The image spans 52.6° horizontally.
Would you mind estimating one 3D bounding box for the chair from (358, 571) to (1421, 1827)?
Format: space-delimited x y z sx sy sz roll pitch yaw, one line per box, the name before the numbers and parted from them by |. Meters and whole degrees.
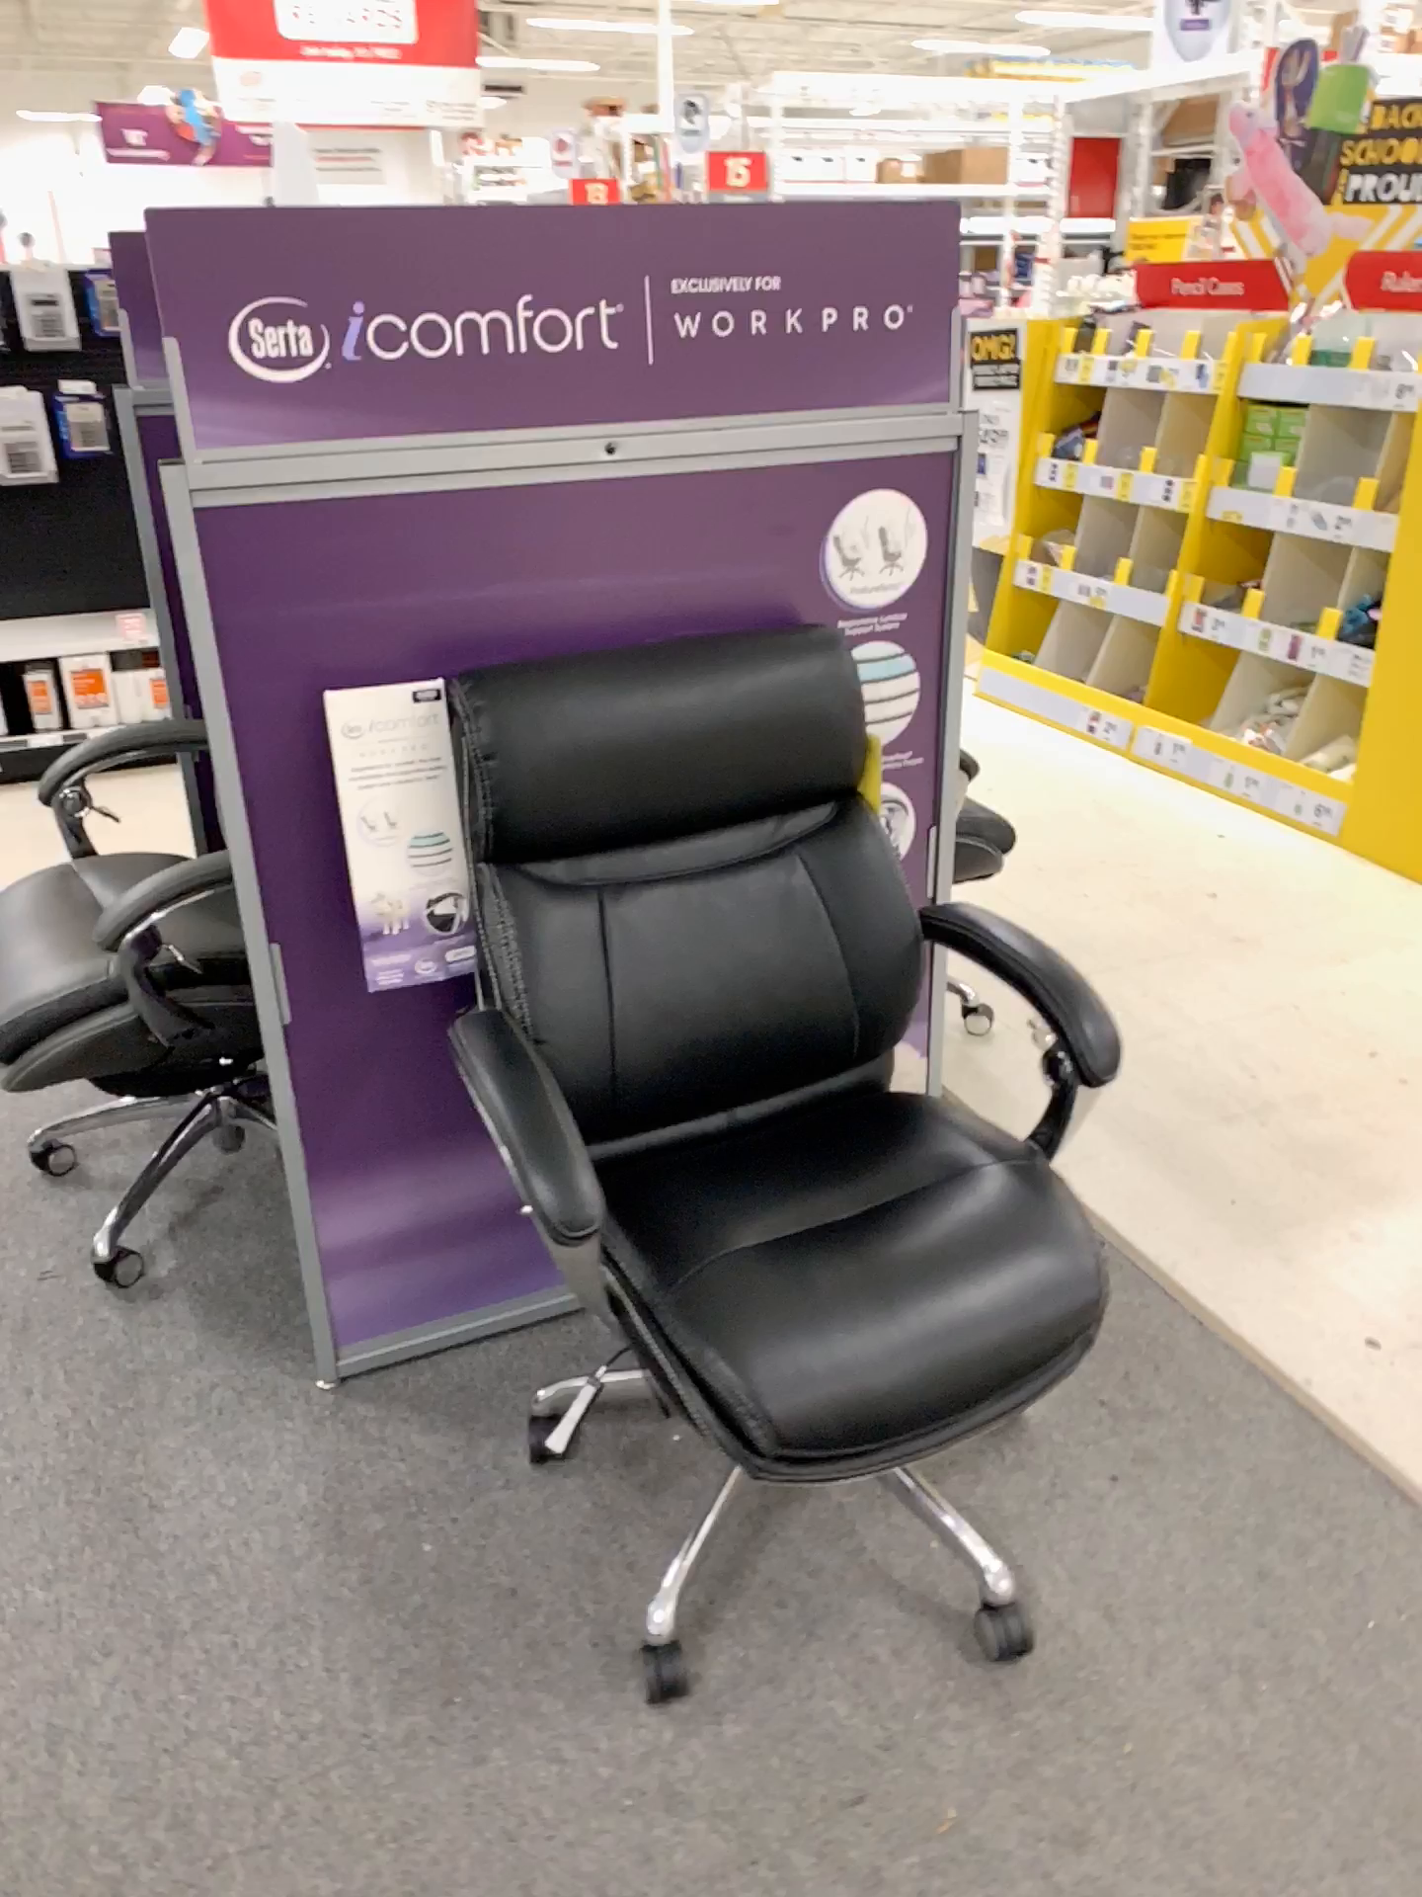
chair | 0.126 0.168 1.569 0.770 0.955 0.723 -11 26 -21
